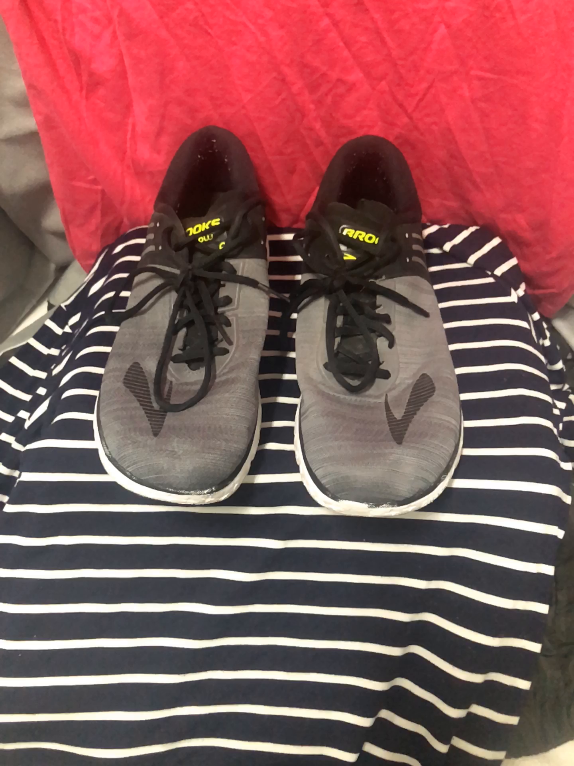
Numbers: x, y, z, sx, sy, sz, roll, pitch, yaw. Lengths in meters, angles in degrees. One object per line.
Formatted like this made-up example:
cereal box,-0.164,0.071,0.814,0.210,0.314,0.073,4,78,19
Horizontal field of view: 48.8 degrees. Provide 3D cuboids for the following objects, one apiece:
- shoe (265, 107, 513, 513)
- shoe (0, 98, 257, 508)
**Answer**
shoe,0.044,-0.065,0.389,0.104,0.079,0.282,0,49,1
shoe,-0.074,-0.072,0.395,0.102,0.079,0.292,-1,49,0
